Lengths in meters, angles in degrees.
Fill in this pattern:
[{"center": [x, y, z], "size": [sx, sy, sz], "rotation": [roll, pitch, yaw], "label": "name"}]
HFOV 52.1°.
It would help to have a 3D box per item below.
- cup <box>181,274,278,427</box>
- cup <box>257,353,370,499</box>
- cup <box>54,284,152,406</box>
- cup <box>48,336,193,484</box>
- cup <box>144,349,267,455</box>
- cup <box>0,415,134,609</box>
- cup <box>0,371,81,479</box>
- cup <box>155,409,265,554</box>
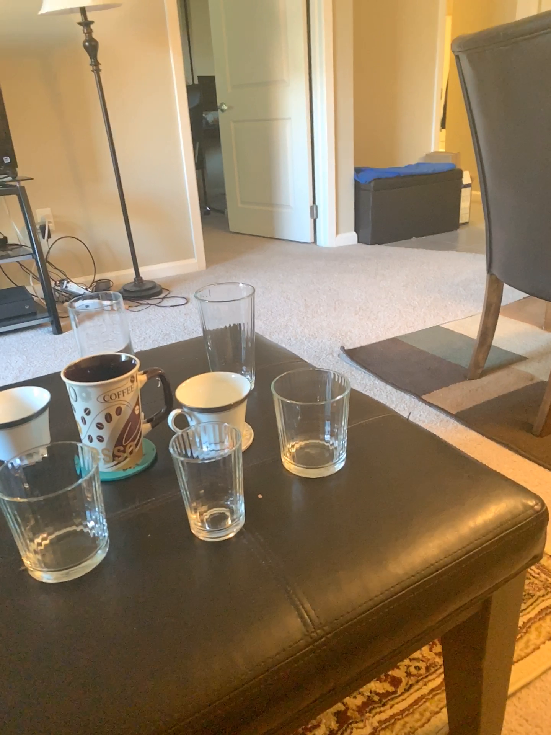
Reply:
[{"center": [-0.065, -0.028, 0.825], "size": [0.090, 0.189, 0.090], "rotation": [-3, 24, 1], "label": "cup"}, {"center": [0.045, 0.063, 0.654], "size": [0.090, 0.119, 0.090], "rotation": [-3, 24, 1], "label": "cup"}, {"center": [-0.250, -0.036, 0.820], "size": [0.090, 0.139, 0.090], "rotation": [-3, 24, 1], "label": "cup"}, {"center": [-0.185, 0.046, 0.681], "size": [0.130, 0.119, 0.090], "rotation": [-17, 27, -28], "label": "cup"}, {"center": [-0.083, 0.037, 0.683], "size": [0.110, 0.070, 0.090], "rotation": [-21, 29, -34], "label": "cup"}, {"center": [-0.200, 0.128, 0.522], "size": [0.090, 0.119, 0.090], "rotation": [-3, 24, 1], "label": "cup"}, {"center": [-0.320, 0.066, 0.688], "size": [0.110, 0.080, 0.090], "rotation": [8, 26, 25], "label": "cup"}, {"center": [-0.063, 0.109, 0.553], "size": [0.070, 0.099, 0.070], "rotation": [-3, 24, 1], "label": "cup"}]
